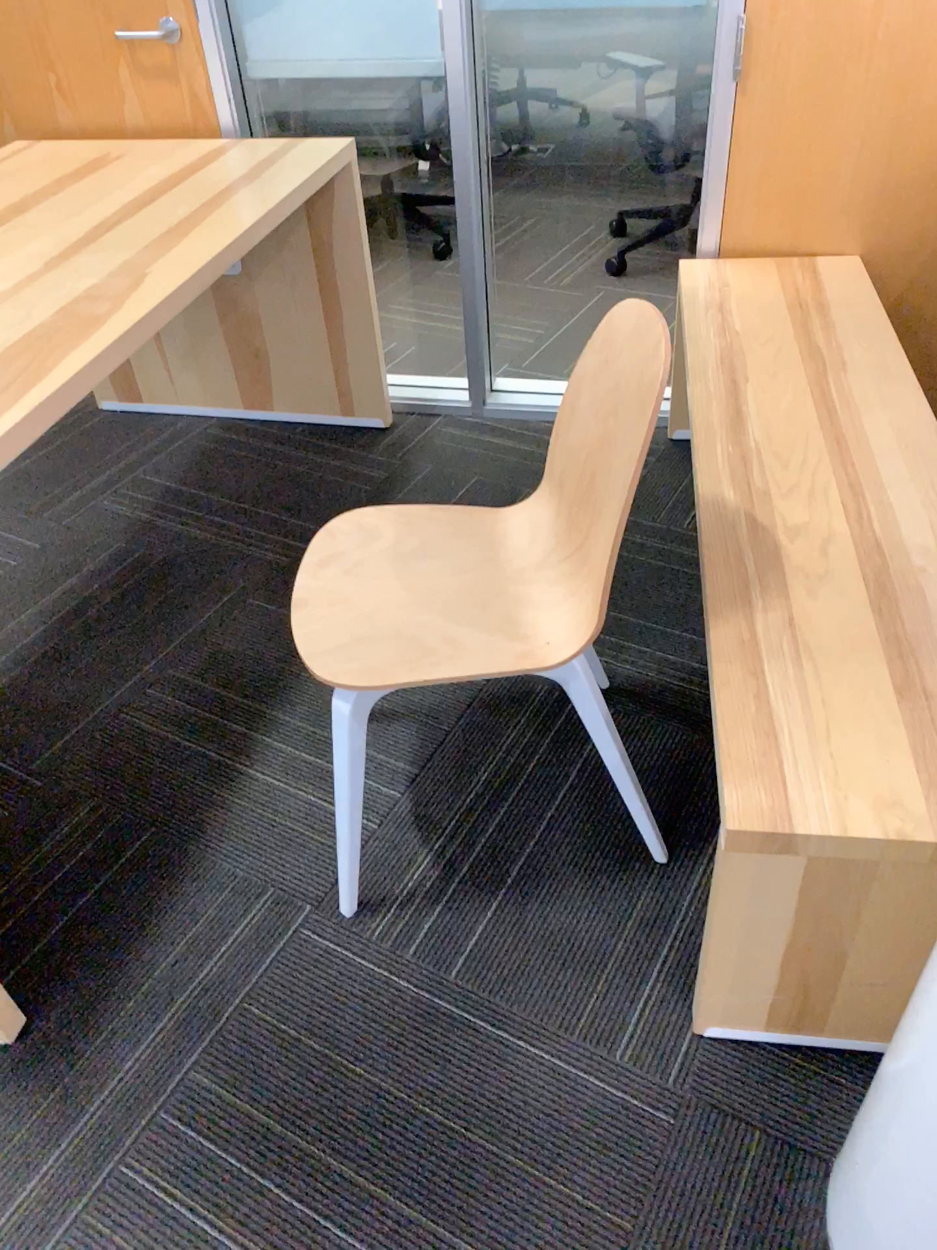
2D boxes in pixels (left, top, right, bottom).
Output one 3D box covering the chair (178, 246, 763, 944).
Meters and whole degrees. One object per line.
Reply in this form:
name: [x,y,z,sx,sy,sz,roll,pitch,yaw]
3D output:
chair: [0.007,-0.026,1.452,0.600,0.835,0.543,-7,40,-2]
